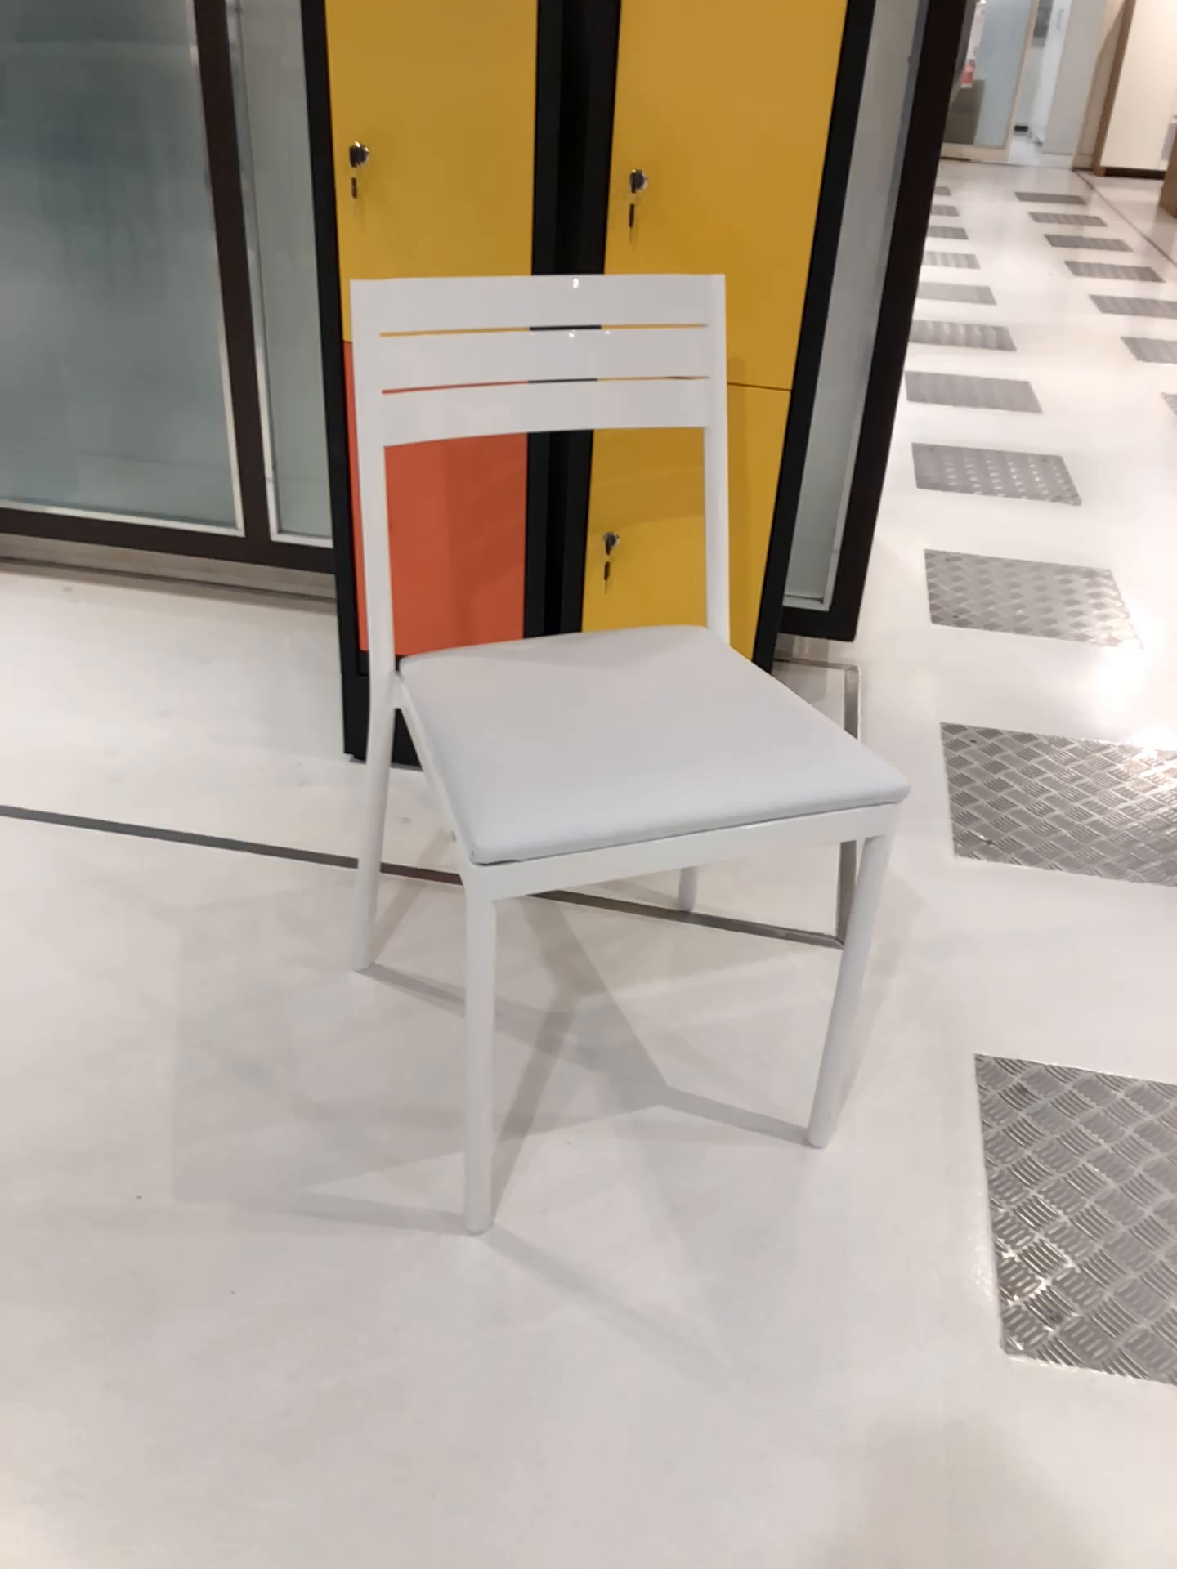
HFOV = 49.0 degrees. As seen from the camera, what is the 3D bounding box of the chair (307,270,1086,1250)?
[{"bbox_3d":[0.031,-0.058,1.267,0.481,0.734,0.533,-8,34,-17],"label":"chair"}]
